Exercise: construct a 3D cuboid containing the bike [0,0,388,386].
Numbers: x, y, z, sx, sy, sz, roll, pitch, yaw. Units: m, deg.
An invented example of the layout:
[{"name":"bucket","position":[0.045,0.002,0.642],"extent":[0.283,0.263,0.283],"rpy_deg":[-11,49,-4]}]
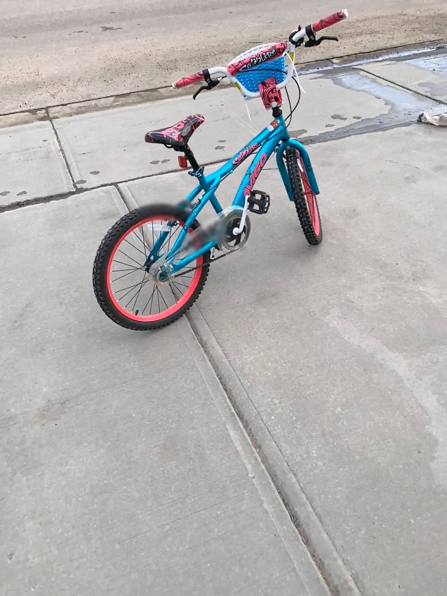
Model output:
[{"name":"bike","position":[-0.079,-0.570,1.799],"extent":[0.746,0.946,1.259],"rpy_deg":[31,54,32]}]
